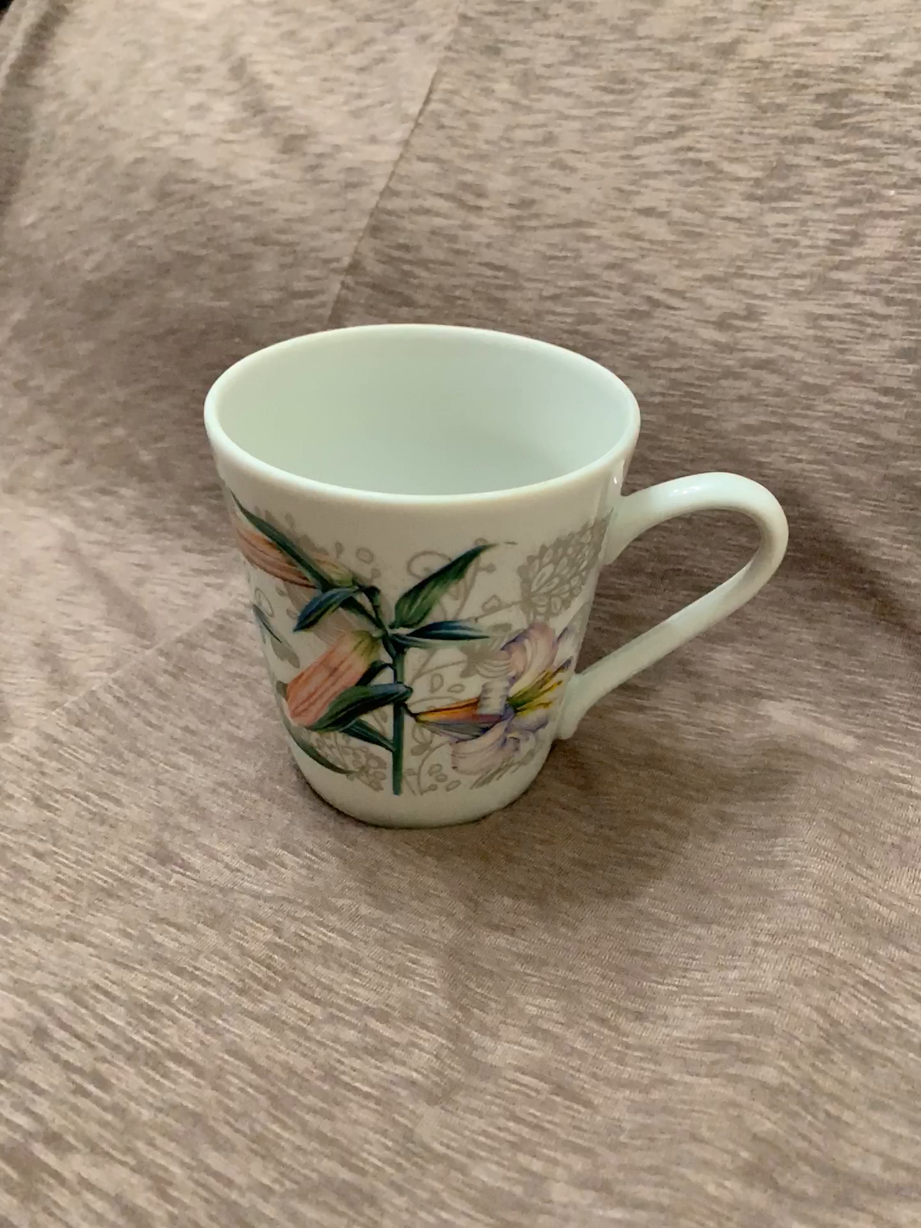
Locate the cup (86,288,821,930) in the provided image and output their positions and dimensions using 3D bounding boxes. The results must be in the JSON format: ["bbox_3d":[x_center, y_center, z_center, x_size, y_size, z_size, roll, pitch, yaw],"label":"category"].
[{"bbox_3d":[0.005,-0.010,0.209,0.119,0.088,0.085,11,36,19],"label":"cup"}]
